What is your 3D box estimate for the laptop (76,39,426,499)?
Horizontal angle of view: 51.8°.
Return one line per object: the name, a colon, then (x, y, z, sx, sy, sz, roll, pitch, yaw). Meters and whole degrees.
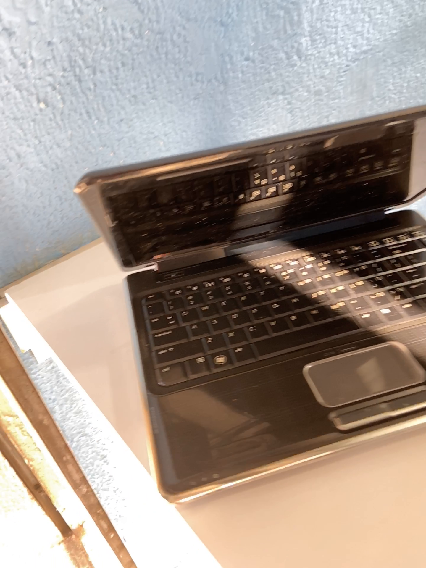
laptop: (0.088, -0.040, 0.326, 0.325, 0.165, 0.226, -14, 41, -8)
